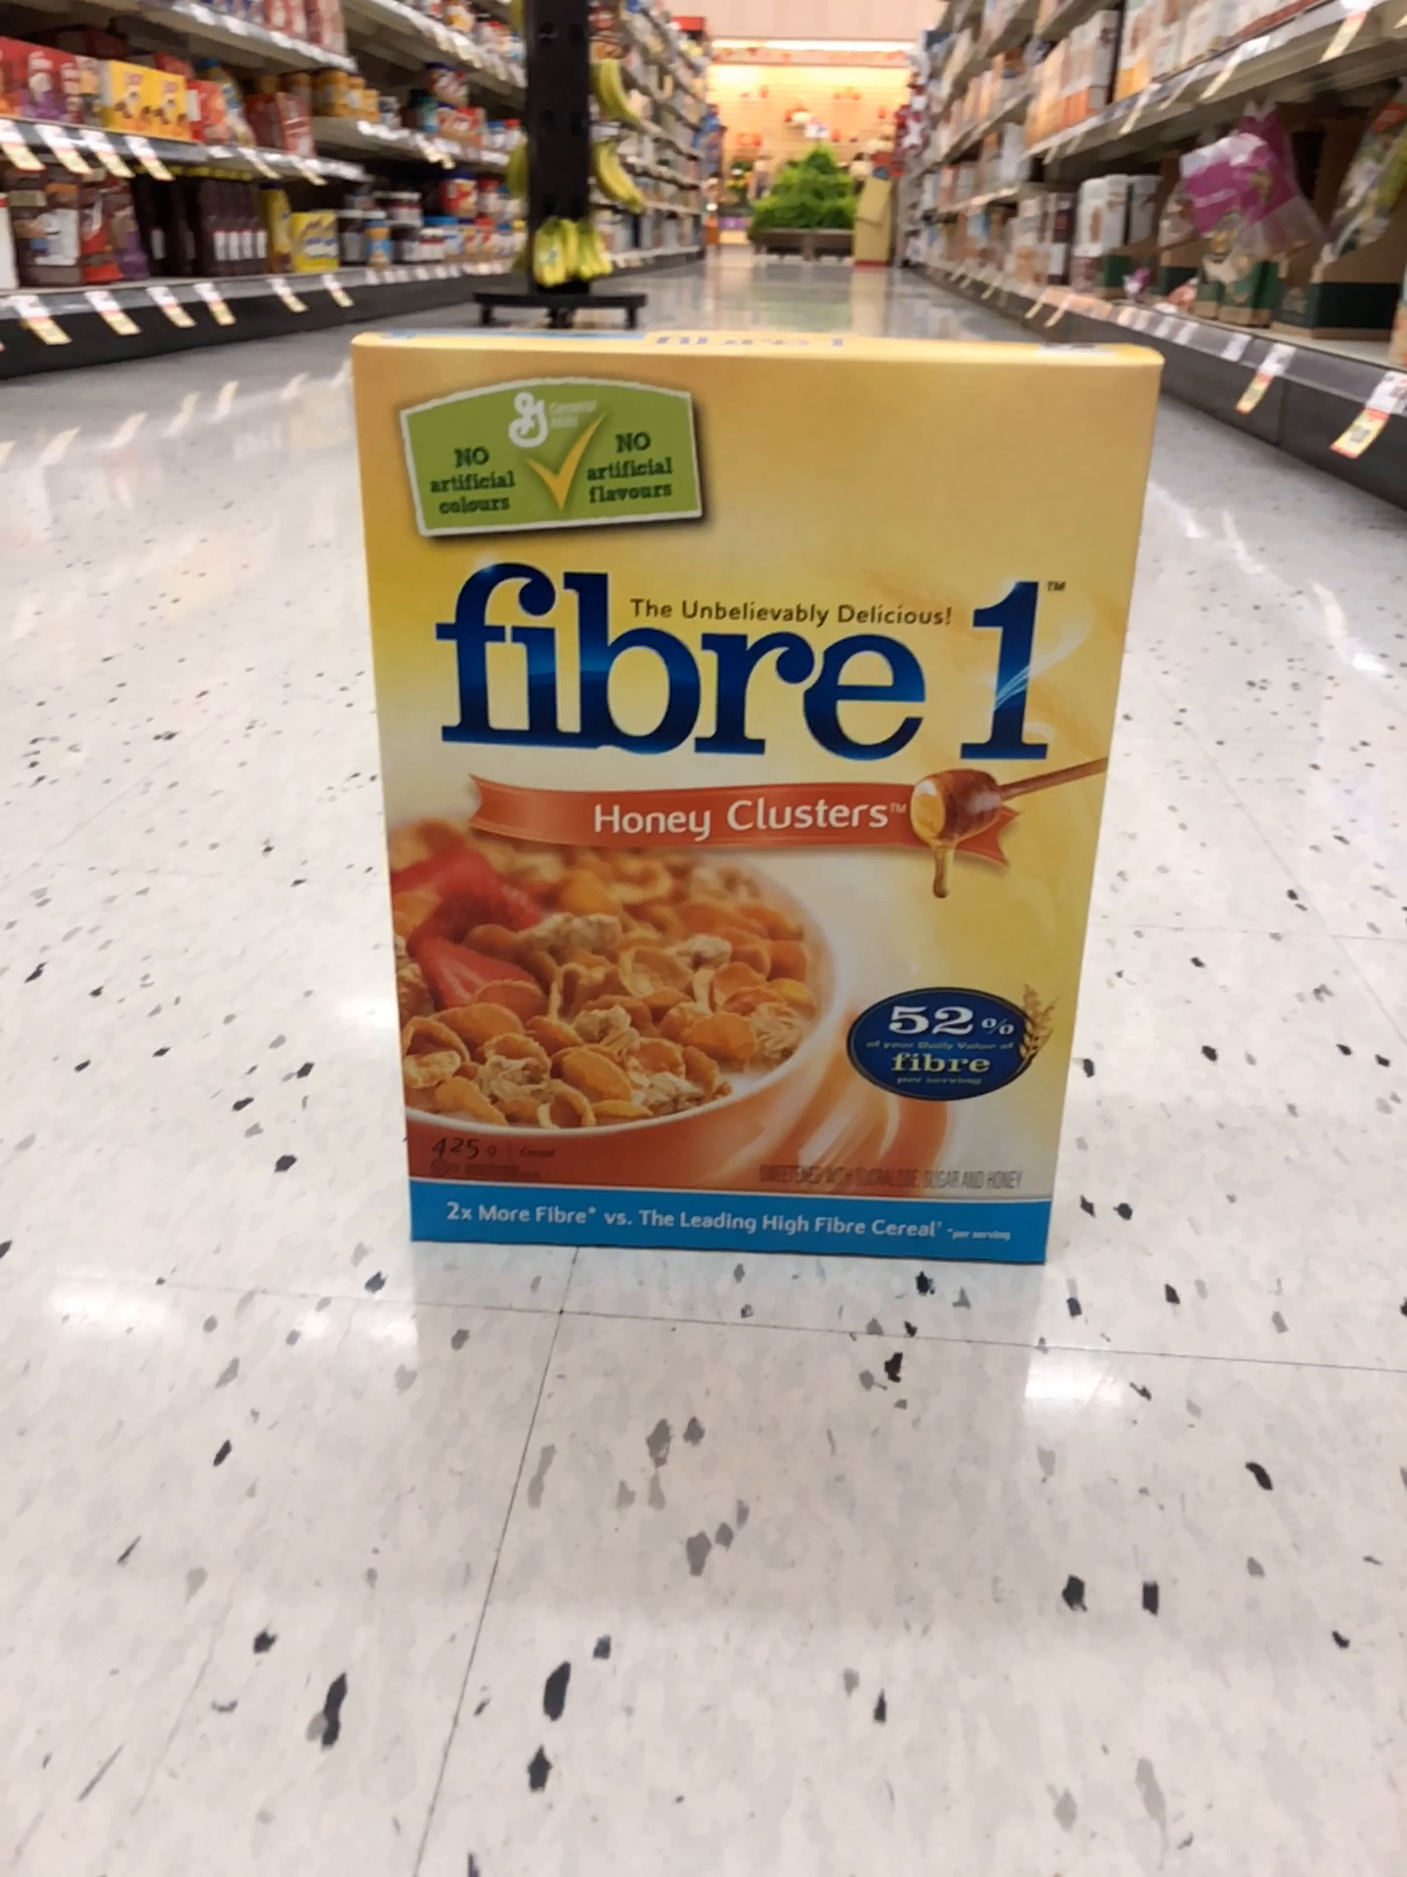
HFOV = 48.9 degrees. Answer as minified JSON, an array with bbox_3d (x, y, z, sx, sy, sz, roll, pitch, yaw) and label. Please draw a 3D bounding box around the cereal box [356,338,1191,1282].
[{"bbox_3d":[0.013,-0.027,0.425,0.190,0.249,0.050,2,24,1],"label":"cereal box"}]
